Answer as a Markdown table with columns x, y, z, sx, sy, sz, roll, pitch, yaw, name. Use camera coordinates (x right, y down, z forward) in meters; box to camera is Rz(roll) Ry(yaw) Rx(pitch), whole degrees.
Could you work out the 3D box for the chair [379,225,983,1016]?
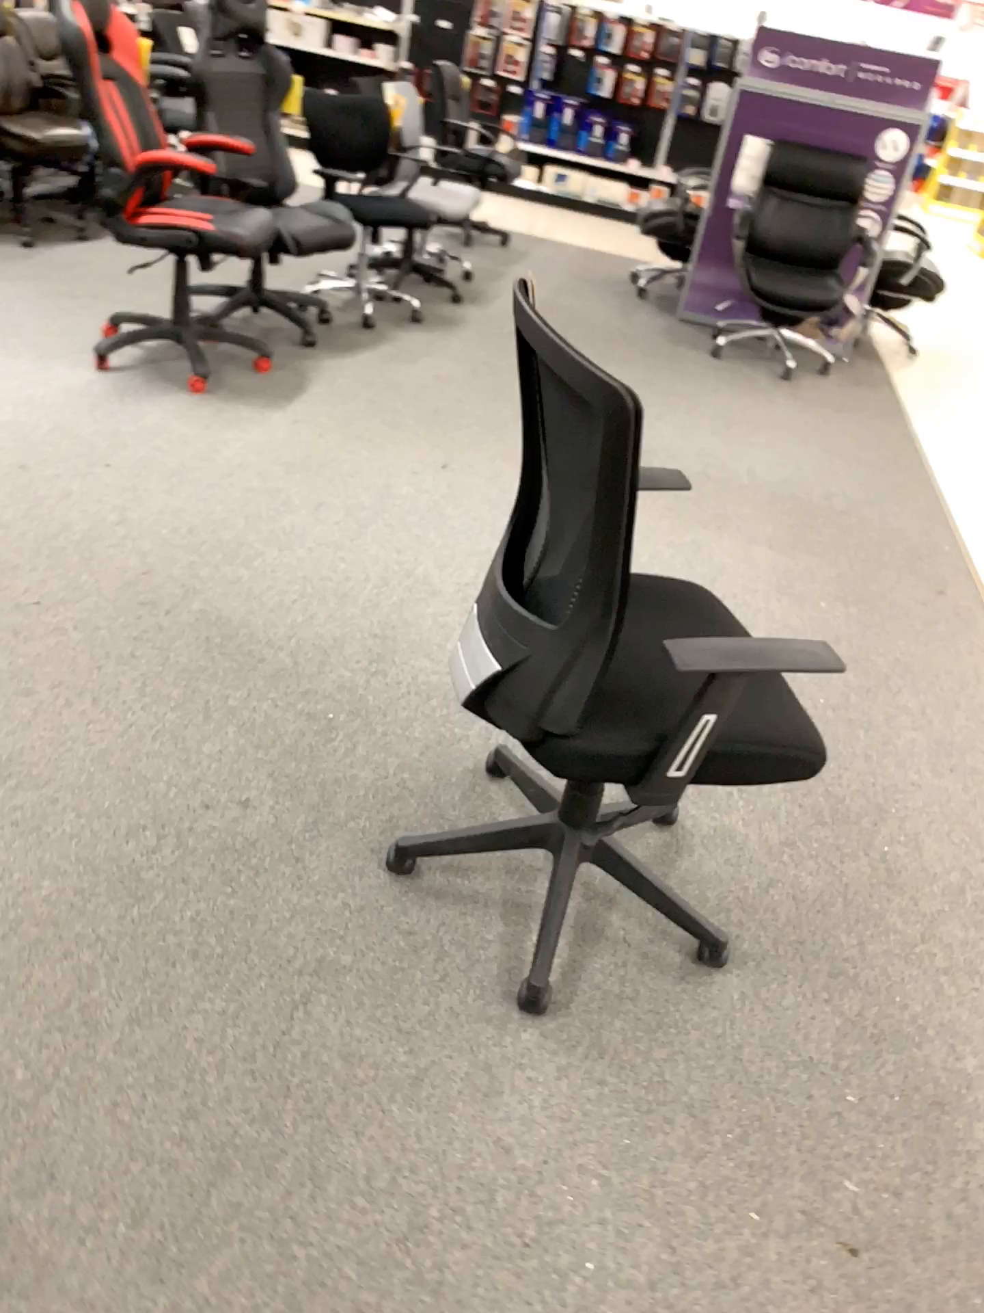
| x | y | z | sx | sy | sz | roll | pitch | yaw | name |
| --- | --- | --- | --- | --- | --- | --- | --- | --- | --- |
| 0.213 | -0.039 | 1.604 | 0.640 | 0.994 | 0.674 | 4 | 33 | -12 | chair |
